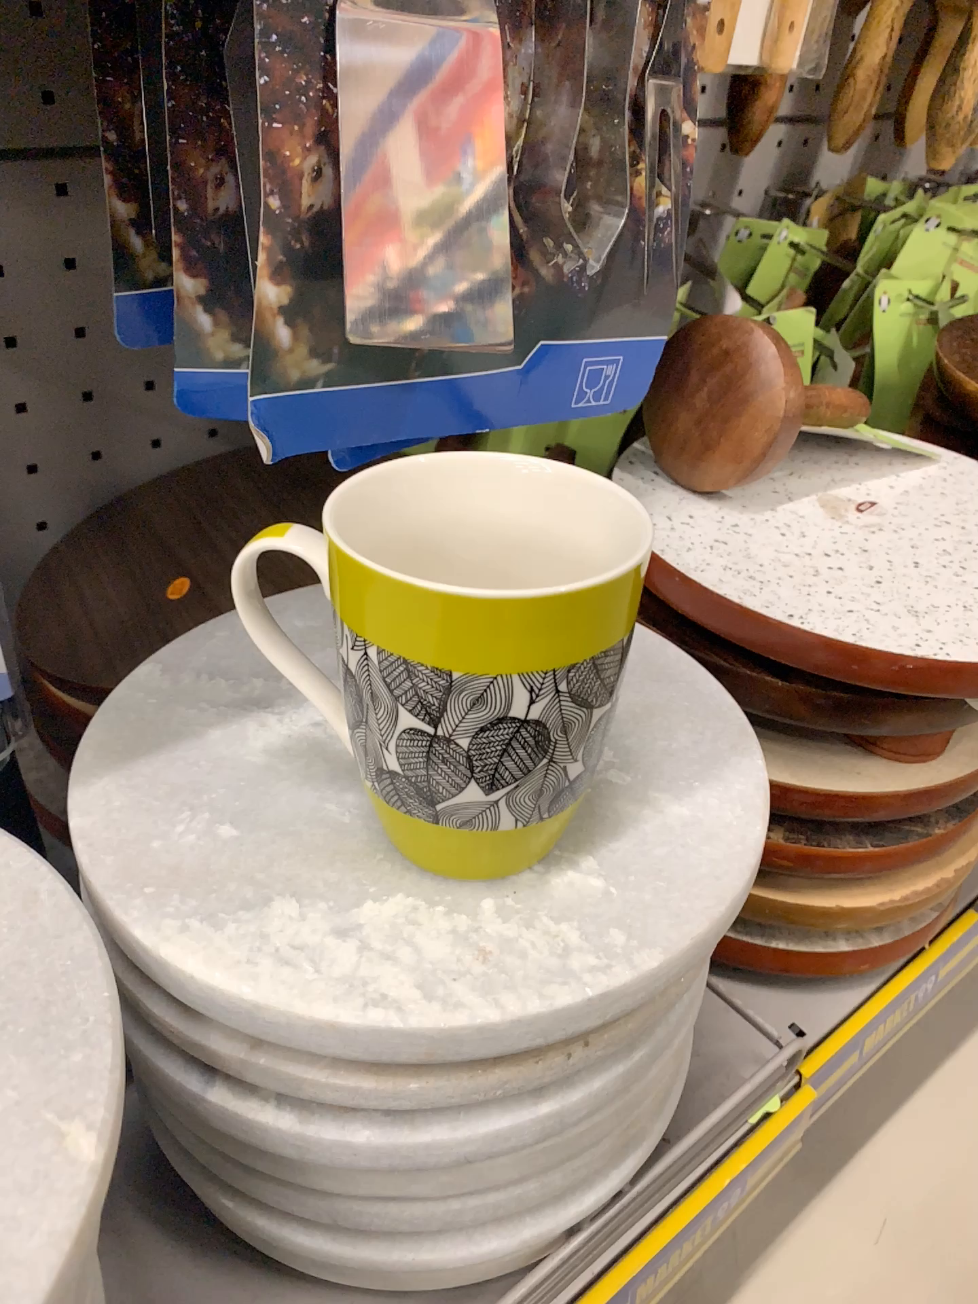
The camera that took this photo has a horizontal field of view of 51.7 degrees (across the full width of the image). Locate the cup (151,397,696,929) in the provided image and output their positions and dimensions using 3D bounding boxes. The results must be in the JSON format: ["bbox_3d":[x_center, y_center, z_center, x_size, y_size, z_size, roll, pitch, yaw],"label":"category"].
[{"bbox_3d":[-0.014,-0.002,0.267,0.110,0.090,0.080,13,35,11],"label":"cup"}]
